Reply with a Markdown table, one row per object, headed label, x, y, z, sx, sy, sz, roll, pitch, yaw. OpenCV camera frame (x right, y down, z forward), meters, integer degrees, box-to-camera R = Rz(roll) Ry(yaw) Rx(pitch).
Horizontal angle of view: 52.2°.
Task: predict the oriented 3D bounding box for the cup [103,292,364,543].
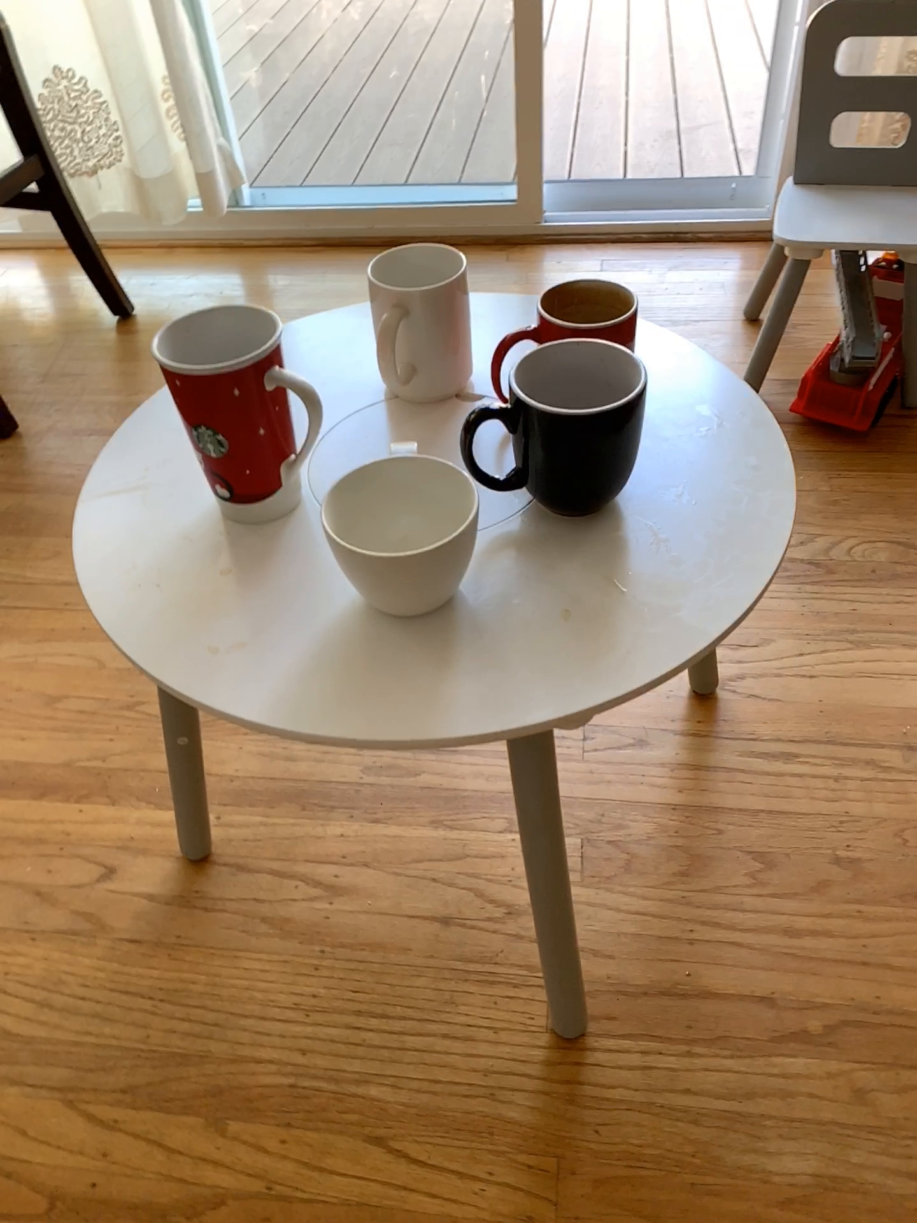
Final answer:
| label | x | y | z | sx | sy | sz | roll | pitch | yaw |
| --- | --- | --- | --- | --- | --- | --- | --- | --- | --- |
| cup | -0.157 | -0.143 | 0.686 | 0.130 | 0.129 | 0.100 | 12 | 47 | 15 |

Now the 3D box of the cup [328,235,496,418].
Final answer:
| label | x | y | z | sx | sy | sz | roll | pitch | yaw |
| --- | --- | --- | --- | --- | --- | --- | --- | --- | --- |
| cup | -0.033 | -0.236 | 0.768 | 0.100 | 0.090 | 0.120 | 9 | 47 | 13 |

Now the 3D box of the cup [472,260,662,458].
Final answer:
| label | x | y | z | sx | sy | sz | roll | pitch | yaw |
| --- | --- | --- | --- | --- | --- | --- | --- | --- | --- |
| cup | 0.085 | -0.203 | 0.751 | 0.120 | 0.100 | 0.080 | -24 | 48 | -18 |

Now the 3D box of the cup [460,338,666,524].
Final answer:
| label | x | y | z | sx | sy | sz | roll | pitch | yaw |
| --- | --- | --- | --- | --- | --- | --- | --- | --- | --- |
| cup | 0.069 | -0.128 | 0.661 | 0.130 | 0.080 | 0.100 | -3 | 45 | 2 |

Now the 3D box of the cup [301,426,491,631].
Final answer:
| label | x | y | z | sx | sy | sz | roll | pitch | yaw |
| --- | --- | --- | --- | --- | --- | --- | --- | --- | --- |
| cup | -0.036 | -0.057 | 0.614 | 0.110 | 0.060 | 0.131 | -2 | 45 | 2 |
